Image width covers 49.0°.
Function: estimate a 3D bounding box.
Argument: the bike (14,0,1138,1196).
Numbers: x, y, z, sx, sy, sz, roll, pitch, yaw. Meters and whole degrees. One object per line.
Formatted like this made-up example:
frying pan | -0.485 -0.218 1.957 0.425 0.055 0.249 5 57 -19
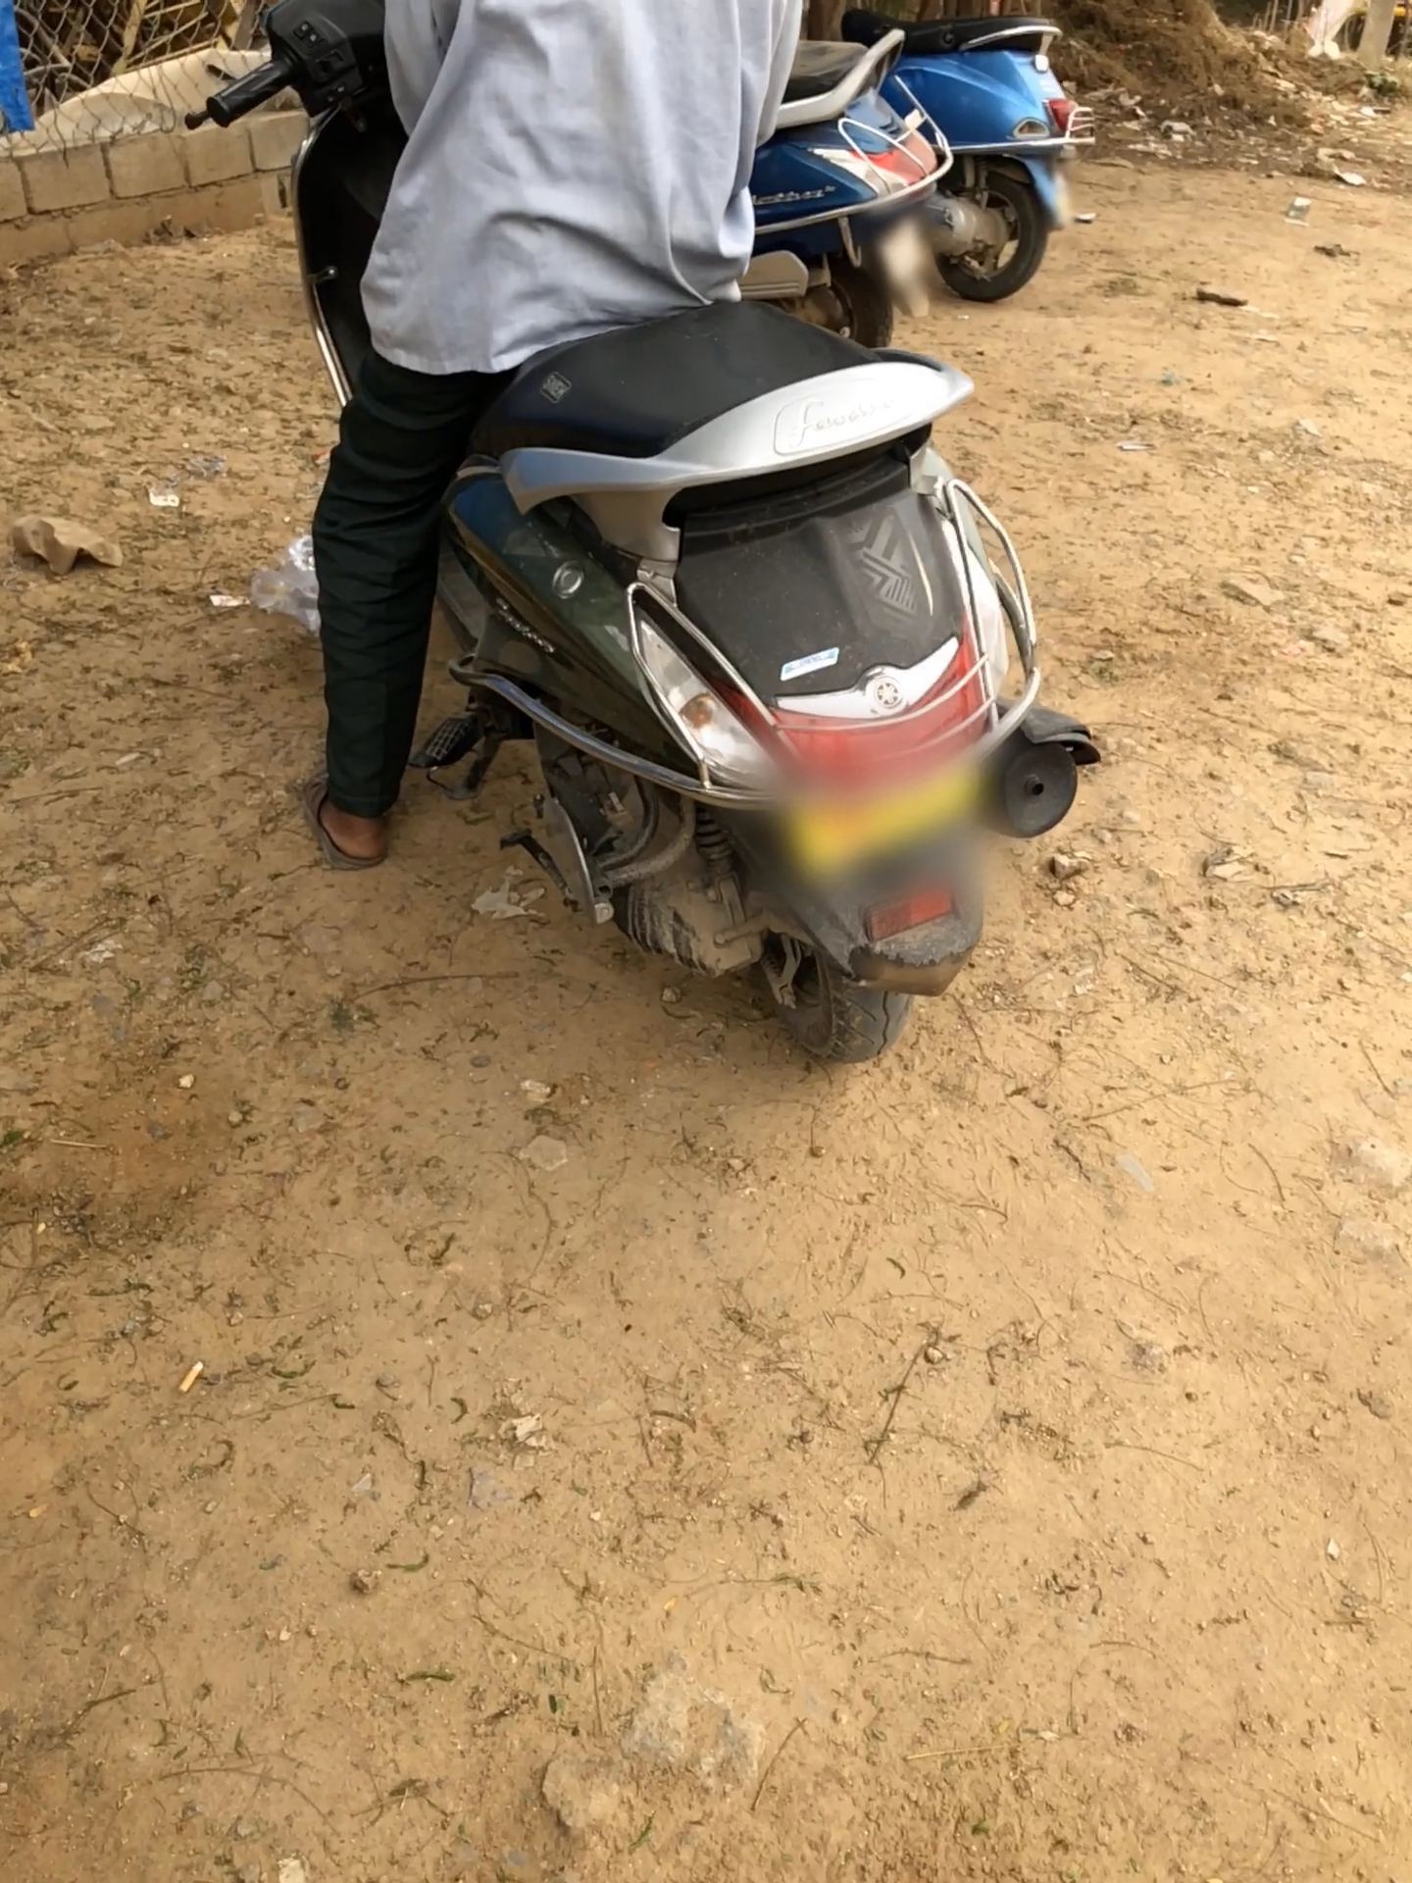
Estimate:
bike | -0.341 -0.736 1.985 0.624 1.054 1.727 -13 39 -21
